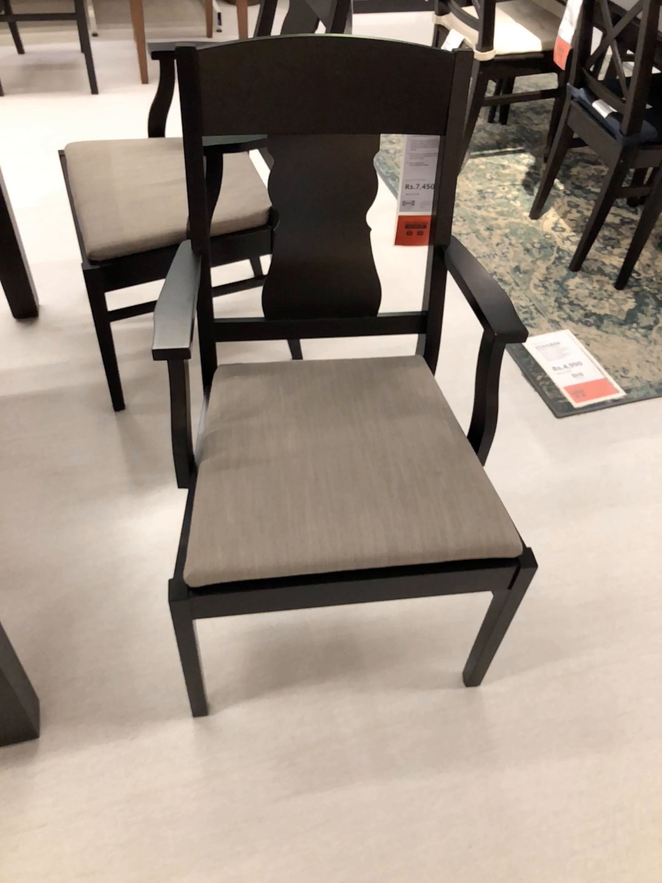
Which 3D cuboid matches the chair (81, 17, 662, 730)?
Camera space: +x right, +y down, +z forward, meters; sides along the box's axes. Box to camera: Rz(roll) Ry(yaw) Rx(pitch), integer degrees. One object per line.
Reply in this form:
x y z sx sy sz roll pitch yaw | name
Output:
0.006 -0.041 1.195 0.570 0.994 0.573 -4 48 -8 | chair
